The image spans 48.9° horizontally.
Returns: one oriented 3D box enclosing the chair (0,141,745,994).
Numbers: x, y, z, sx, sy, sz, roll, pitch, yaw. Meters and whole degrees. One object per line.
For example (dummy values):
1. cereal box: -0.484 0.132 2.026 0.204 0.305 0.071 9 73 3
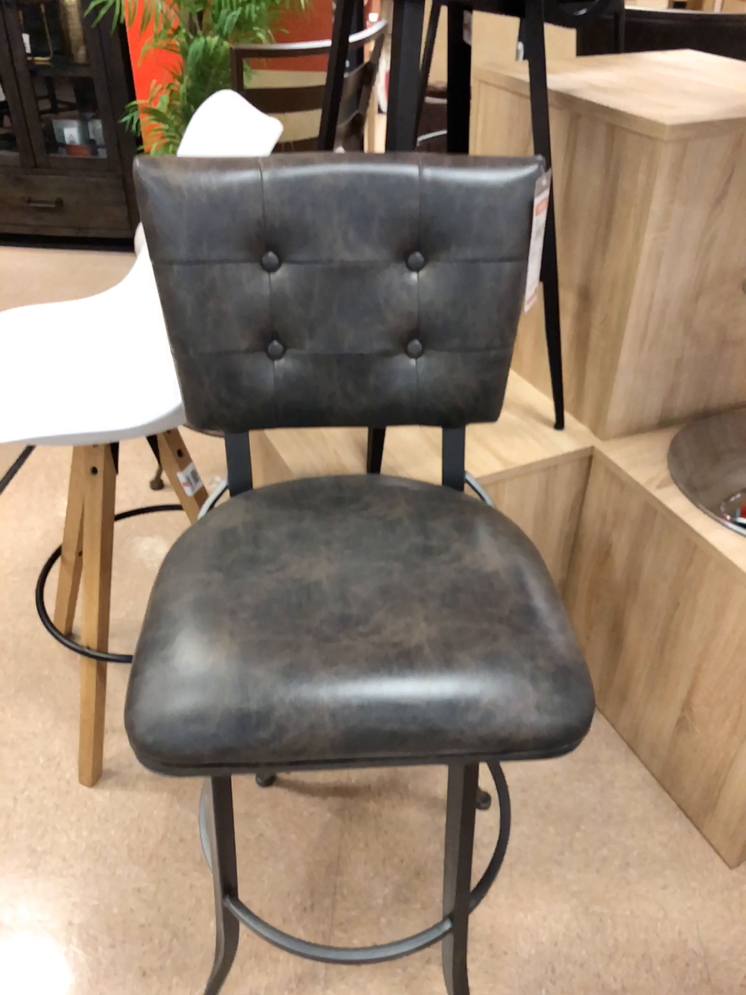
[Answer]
1. chair: -0.024 0.206 1.038 0.518 1.108 0.514 -1 36 -1
